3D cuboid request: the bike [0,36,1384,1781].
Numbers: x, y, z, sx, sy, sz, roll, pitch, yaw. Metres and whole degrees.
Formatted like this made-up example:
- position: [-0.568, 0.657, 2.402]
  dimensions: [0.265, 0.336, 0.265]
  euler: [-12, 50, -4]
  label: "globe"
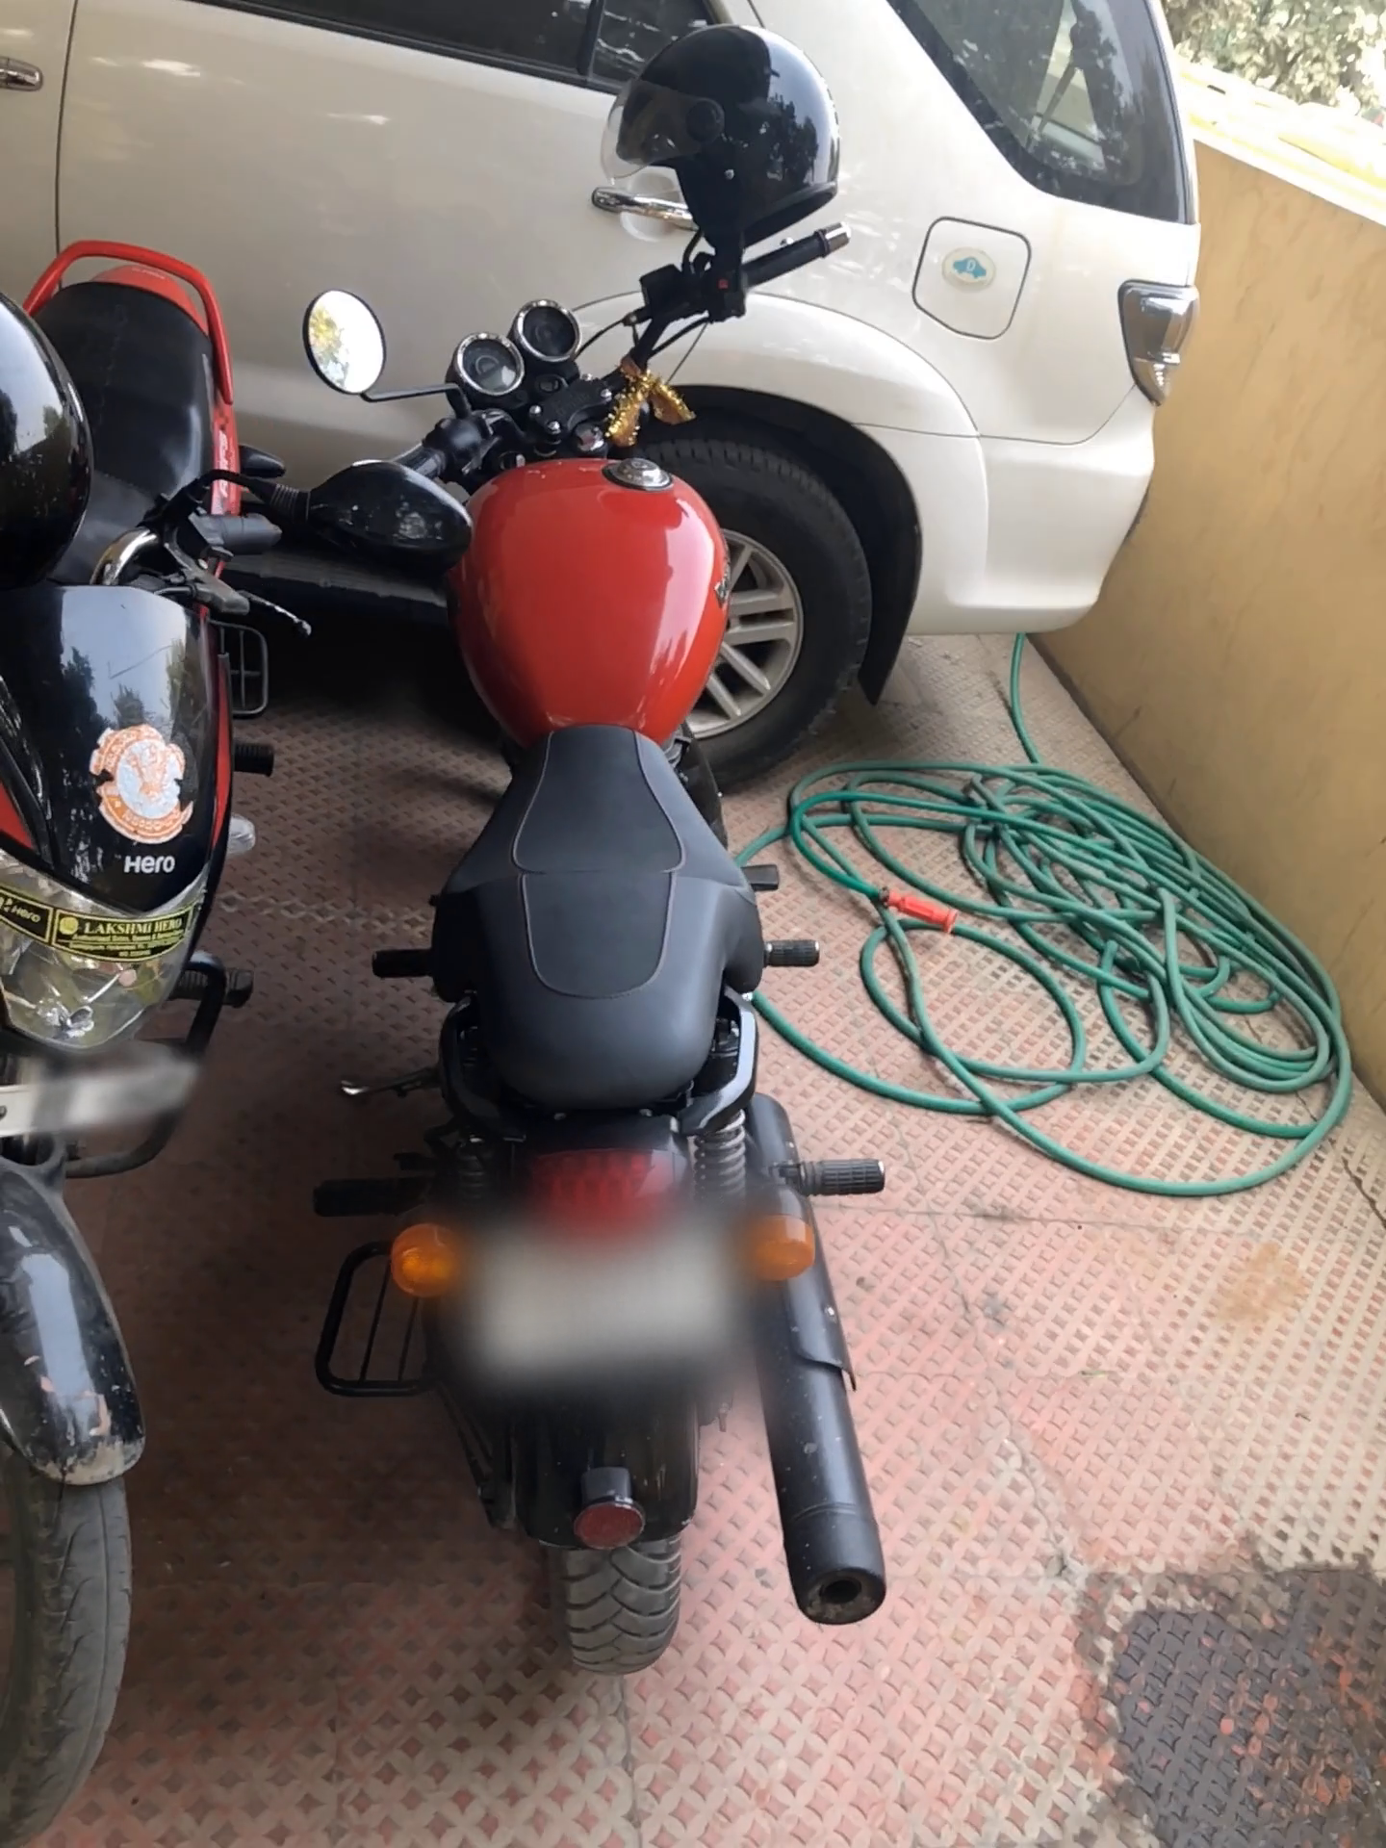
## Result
- position: [-0.261, -0.159, 1.858]
  dimensions: [0.820, 1.270, 1.722]
  euler: [8, 34, -15]
  label: "bike"
